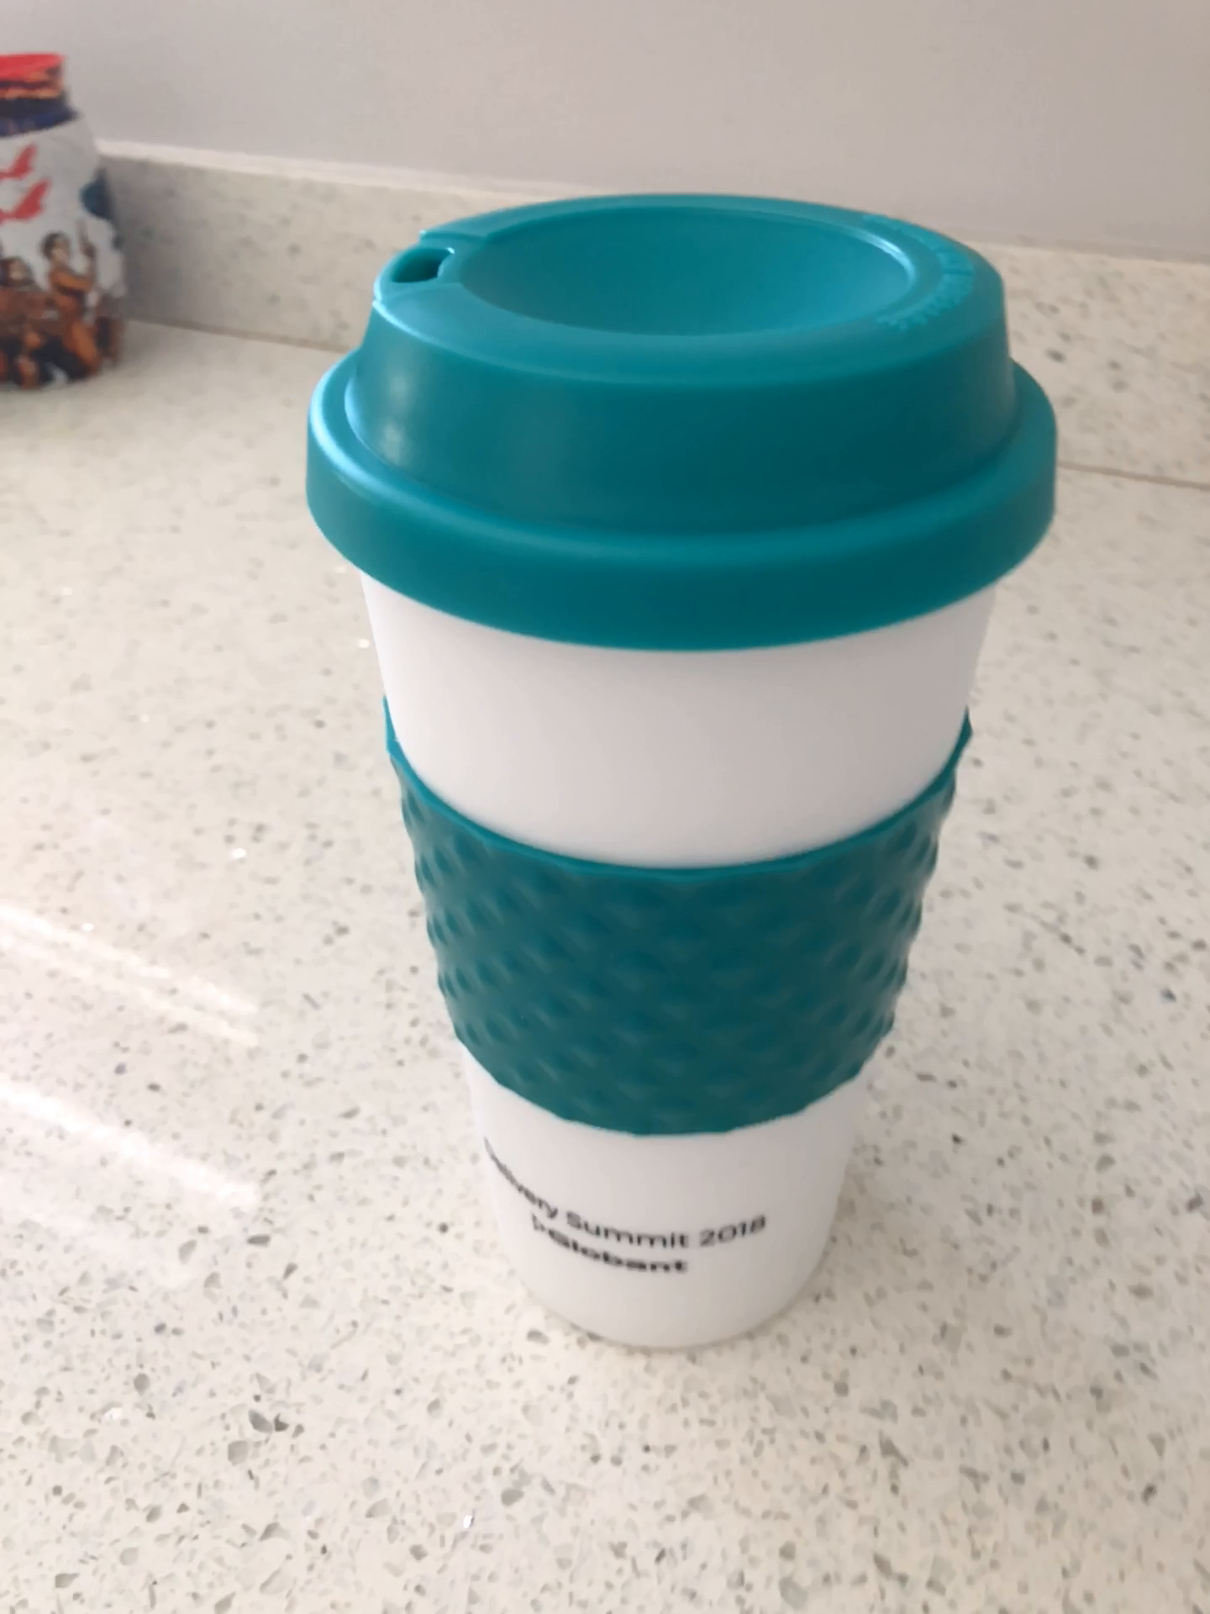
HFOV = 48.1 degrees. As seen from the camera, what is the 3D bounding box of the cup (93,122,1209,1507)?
[{"bbox_3d":[0.013,-0.002,0.215,0.100,0.169,0.100,-1,37,1],"label":"cup"}]
